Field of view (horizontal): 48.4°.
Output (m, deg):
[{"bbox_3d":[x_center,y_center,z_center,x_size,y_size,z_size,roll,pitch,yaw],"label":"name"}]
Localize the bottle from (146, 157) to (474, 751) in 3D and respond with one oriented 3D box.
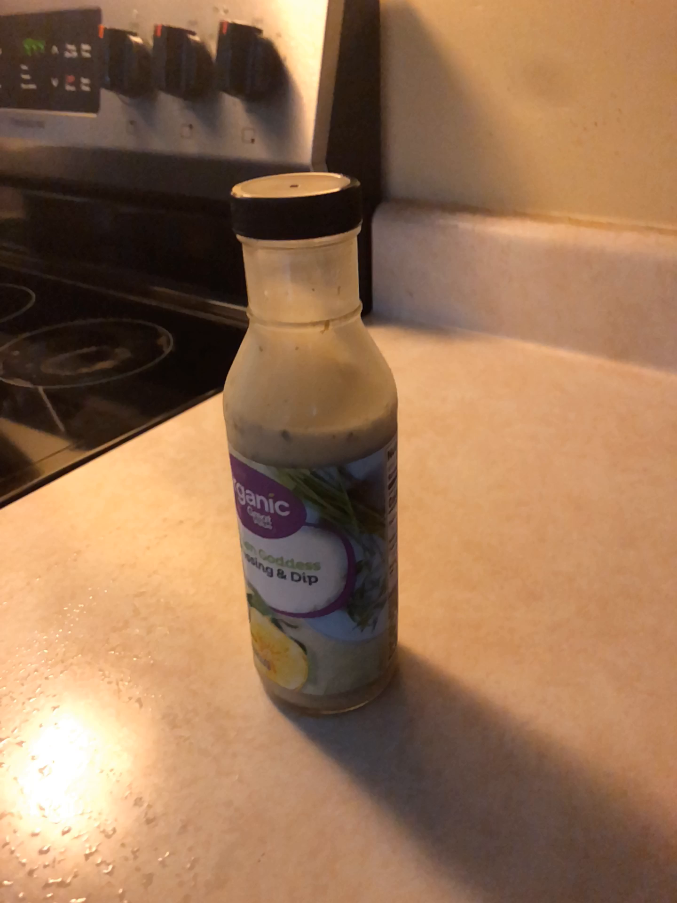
[{"bbox_3d":[-0.006,0.002,0.271,0.070,0.189,0.070,-2,29,1],"label":"bottle"}]
